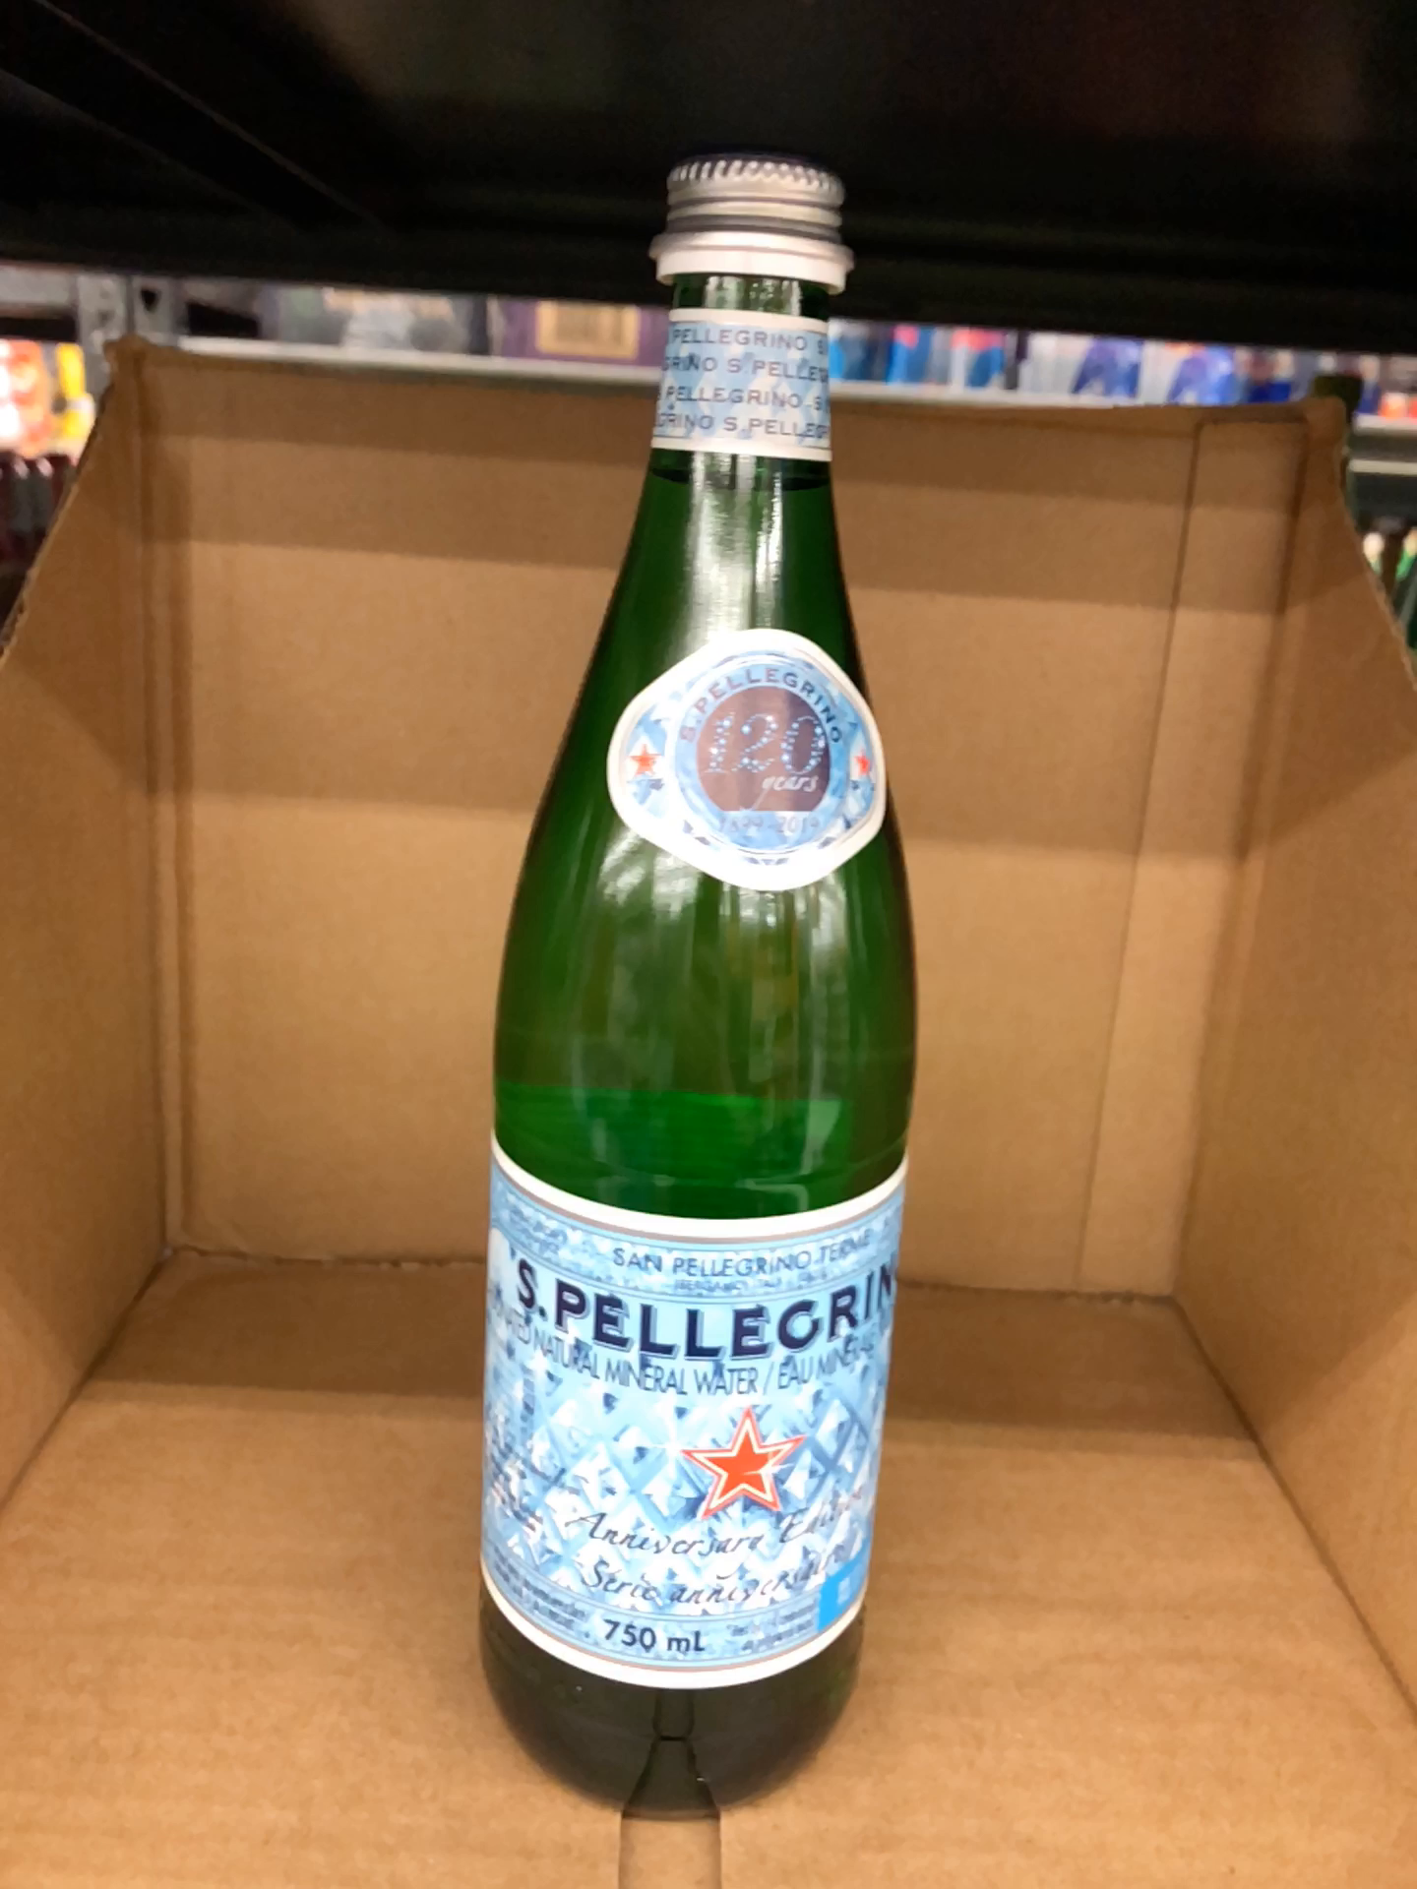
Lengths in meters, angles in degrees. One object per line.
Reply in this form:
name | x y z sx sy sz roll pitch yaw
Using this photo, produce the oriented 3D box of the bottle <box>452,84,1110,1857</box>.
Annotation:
bottle | 0.002 0.016 0.274 0.080 0.279 0.070 3 16 -3
